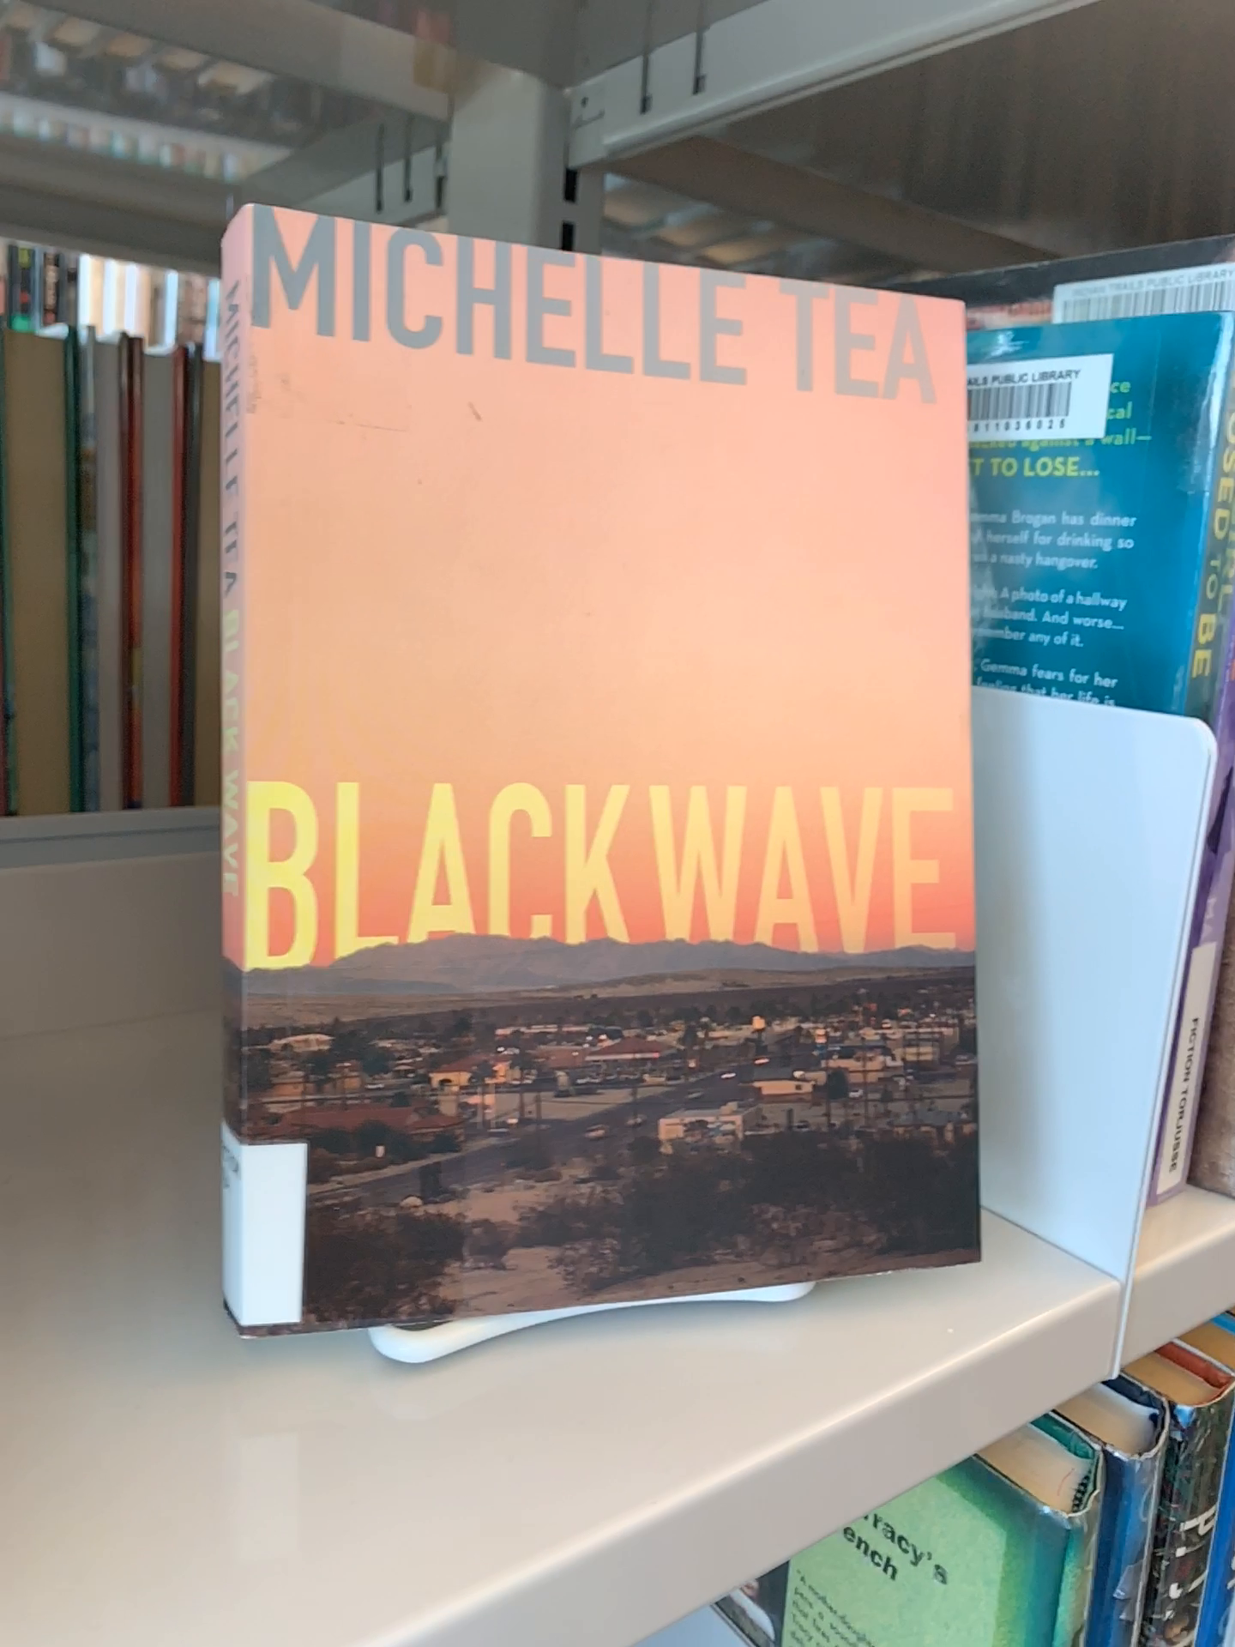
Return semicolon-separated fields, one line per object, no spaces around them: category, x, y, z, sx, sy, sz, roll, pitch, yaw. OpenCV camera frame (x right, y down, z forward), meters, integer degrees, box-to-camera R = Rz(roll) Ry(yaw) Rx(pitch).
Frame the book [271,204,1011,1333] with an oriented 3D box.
book;0.006;-0.010;0.267;0.147;0.201;0.036;1;0;-16
